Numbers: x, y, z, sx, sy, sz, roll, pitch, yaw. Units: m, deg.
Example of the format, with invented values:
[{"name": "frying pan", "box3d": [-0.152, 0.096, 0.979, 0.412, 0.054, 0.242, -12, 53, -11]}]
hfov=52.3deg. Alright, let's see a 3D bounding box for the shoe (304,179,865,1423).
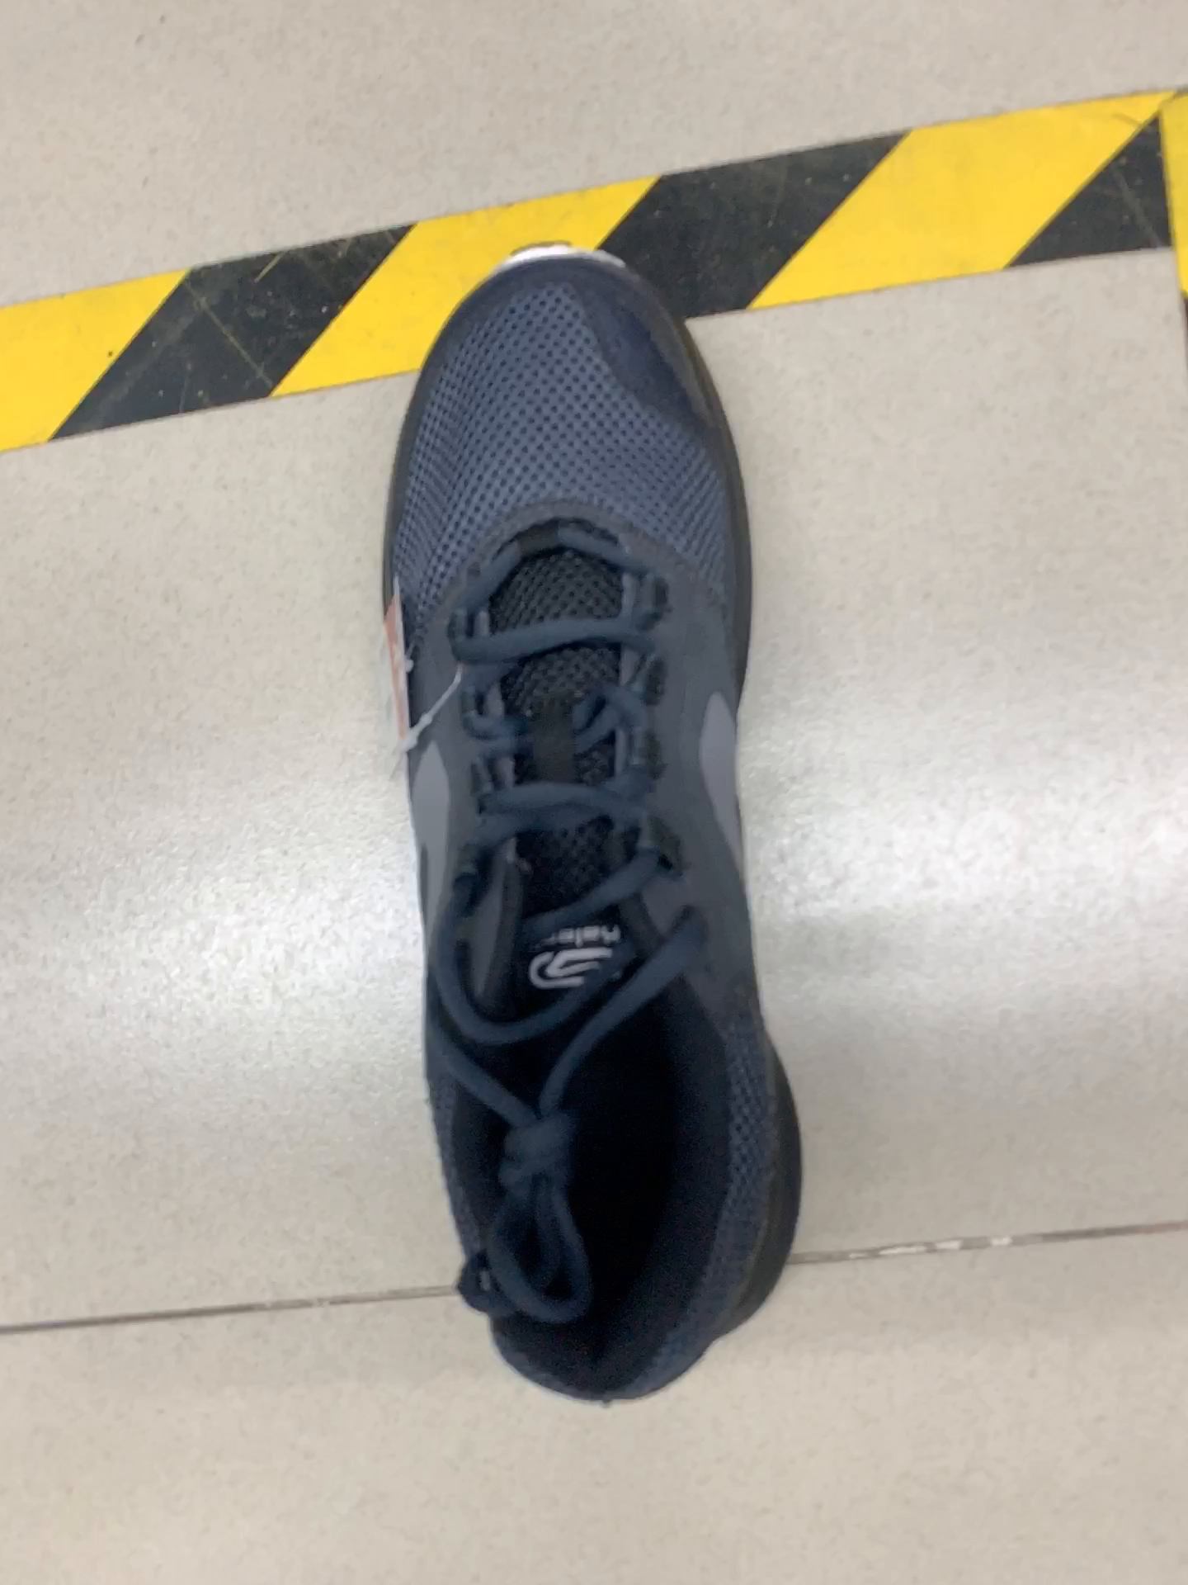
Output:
[{"name": "shoe", "box3d": [-0.002, 0.003, 0.315, 0.110, 0.070, 0.280, -5, 86, 7]}]
